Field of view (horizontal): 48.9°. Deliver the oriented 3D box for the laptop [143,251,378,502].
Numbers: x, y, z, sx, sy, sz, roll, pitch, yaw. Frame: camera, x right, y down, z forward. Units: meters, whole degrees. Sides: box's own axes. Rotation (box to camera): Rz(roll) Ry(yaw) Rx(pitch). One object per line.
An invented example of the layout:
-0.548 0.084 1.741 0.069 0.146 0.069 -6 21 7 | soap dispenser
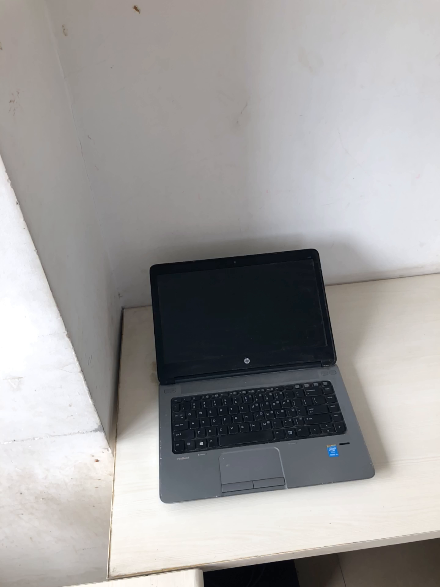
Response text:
0.042 0.116 0.859 0.328 0.137 0.407 -5 42 -4 | laptop
